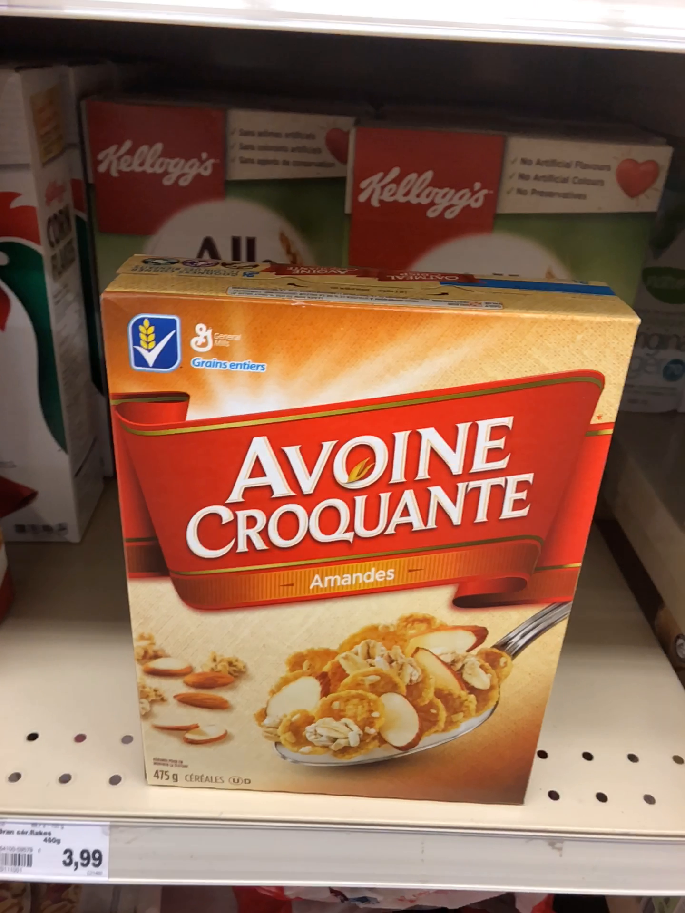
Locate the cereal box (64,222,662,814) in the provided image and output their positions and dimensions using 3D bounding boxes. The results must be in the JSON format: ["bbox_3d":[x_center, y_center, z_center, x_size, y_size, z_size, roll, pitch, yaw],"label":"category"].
[{"bbox_3d":[0.000,0.044,0.345,0.200,0.268,0.060,3,29,0],"label":"cereal box"}]
